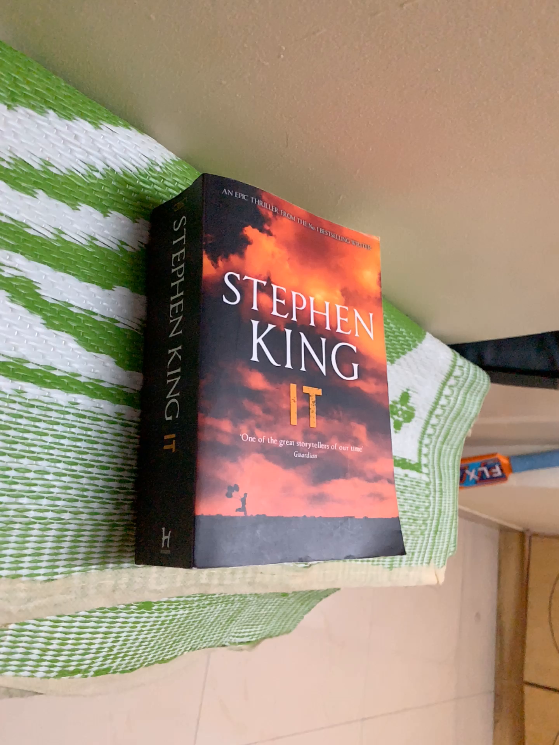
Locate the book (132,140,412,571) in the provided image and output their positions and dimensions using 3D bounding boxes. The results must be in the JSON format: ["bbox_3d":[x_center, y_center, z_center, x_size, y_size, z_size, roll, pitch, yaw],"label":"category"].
[{"bbox_3d":[-0.001,0.001,0.339,0.141,0.070,0.210,15,66,-43],"label":"book"}]
